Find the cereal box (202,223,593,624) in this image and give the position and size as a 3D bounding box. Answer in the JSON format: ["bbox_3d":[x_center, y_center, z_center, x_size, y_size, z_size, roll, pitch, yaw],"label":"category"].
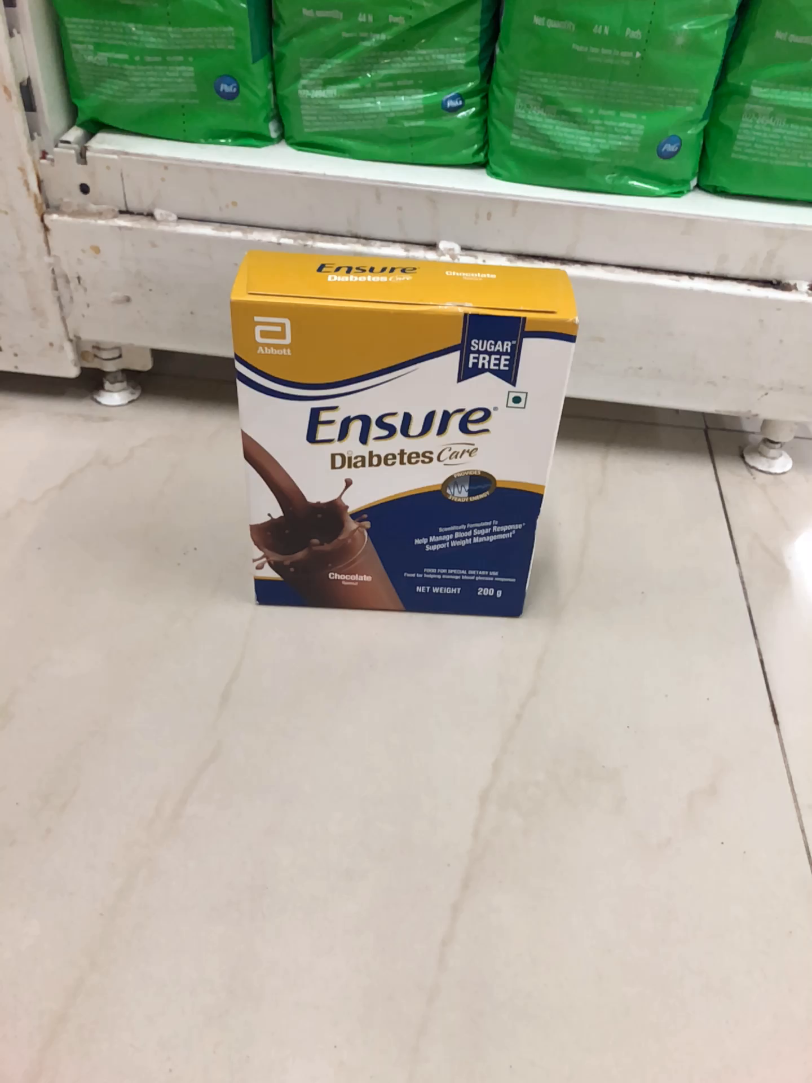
[{"bbox_3d":[-0.006,-0.044,0.398,0.140,0.169,0.050,3,42,0],"label":"cereal box"}]
